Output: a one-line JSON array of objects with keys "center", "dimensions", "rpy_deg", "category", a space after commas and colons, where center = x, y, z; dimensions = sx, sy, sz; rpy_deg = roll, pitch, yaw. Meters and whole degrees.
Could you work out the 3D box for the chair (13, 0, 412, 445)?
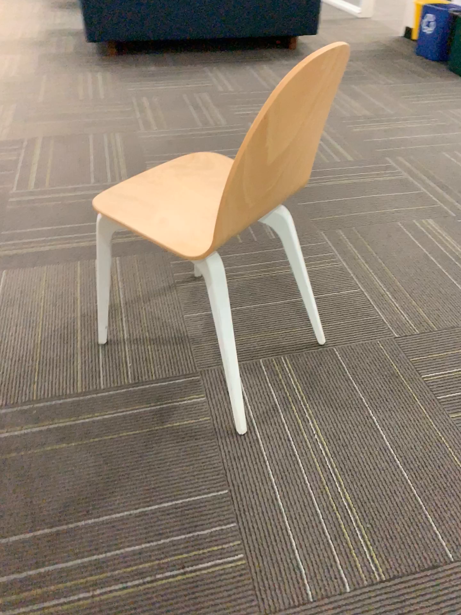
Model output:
[{"center": [-0.031, -0.216, 1.125], "dimensions": [0.542, 0.795, 0.501], "rpy_deg": [28, 47, 27], "category": "chair"}]
